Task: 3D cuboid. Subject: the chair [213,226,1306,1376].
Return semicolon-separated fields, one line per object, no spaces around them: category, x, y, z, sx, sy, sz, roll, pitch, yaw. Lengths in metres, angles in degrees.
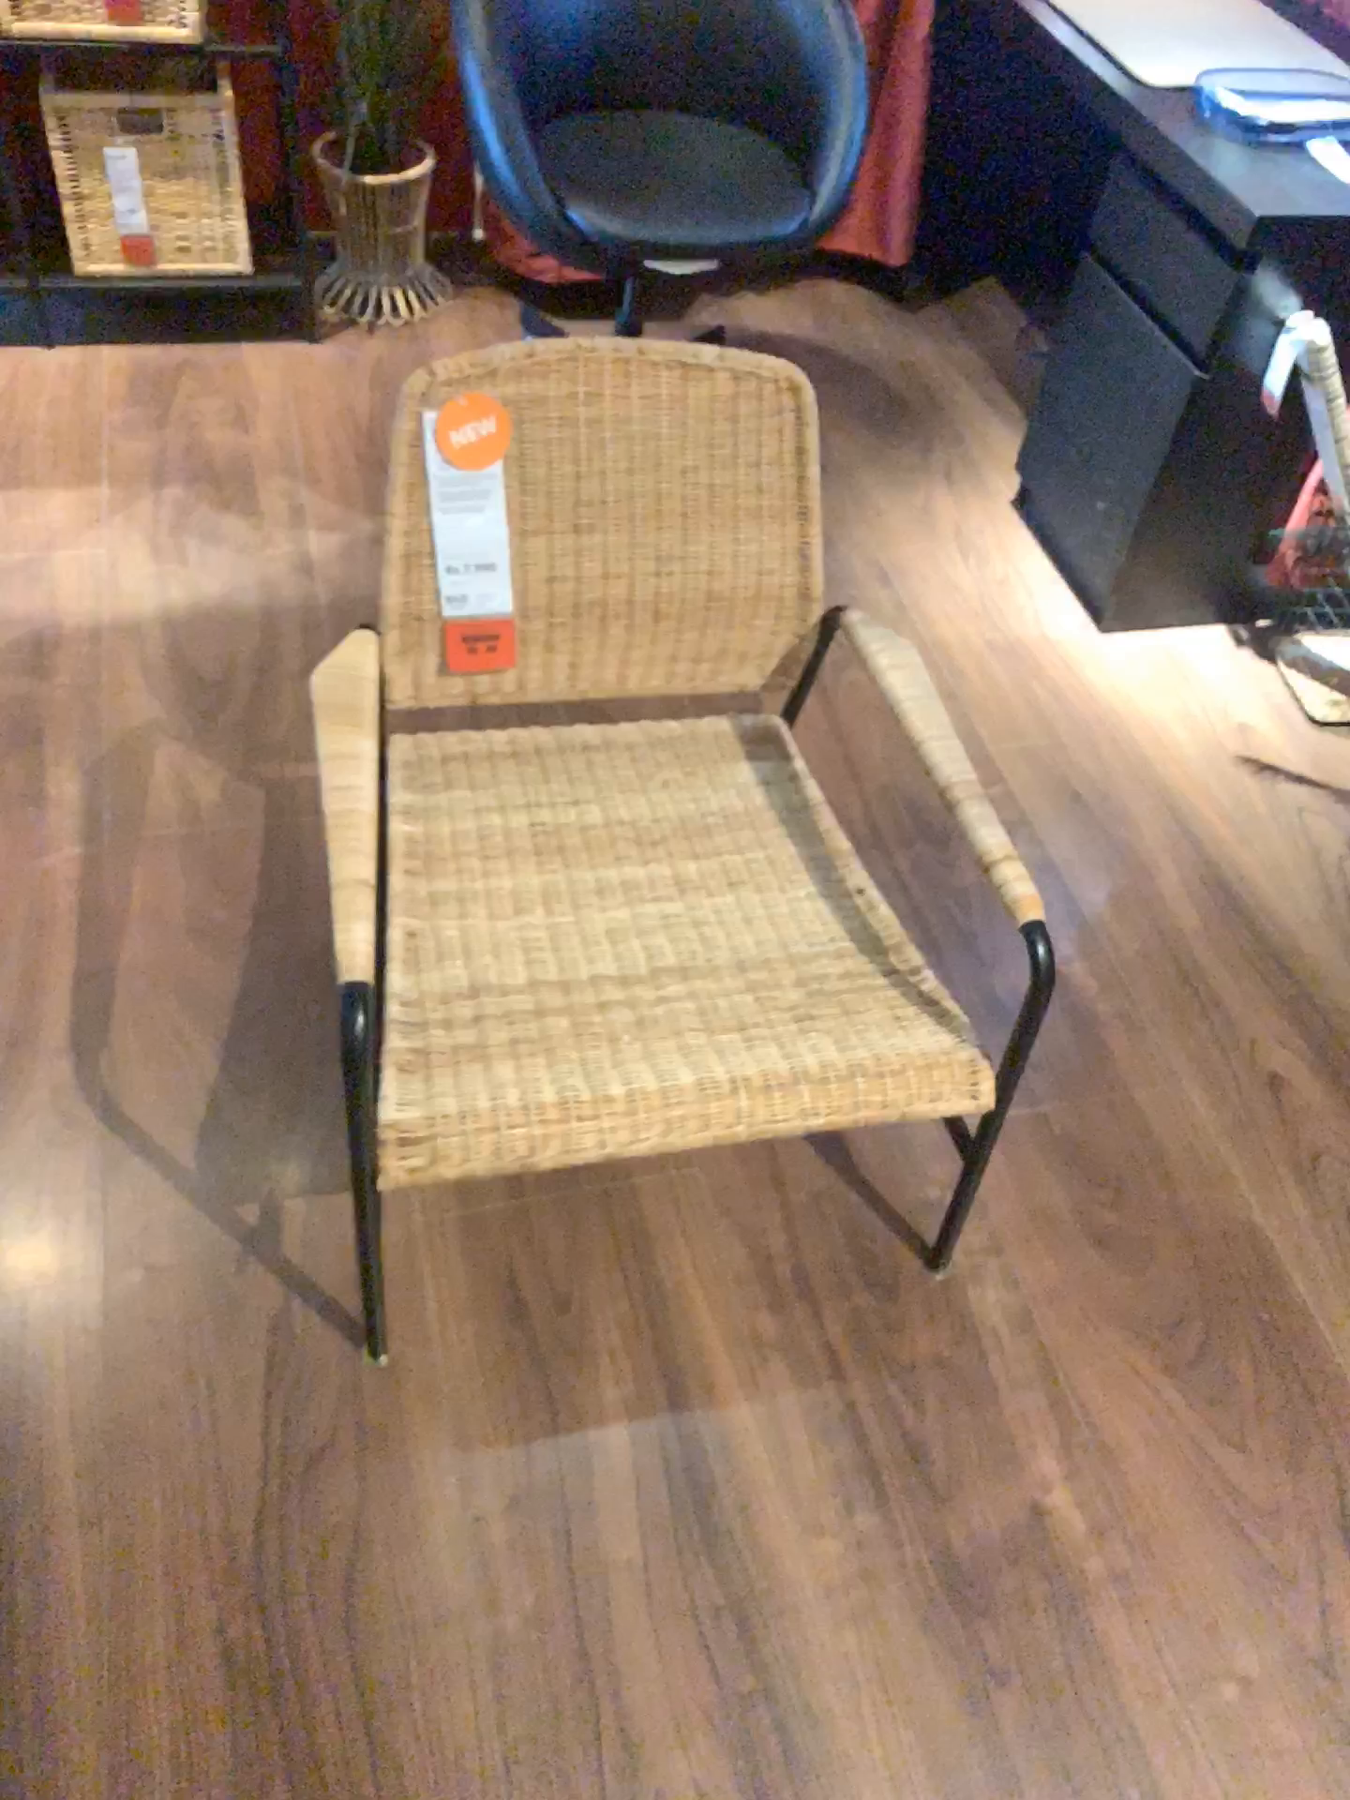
chair;-0.041;-0.112;1.399;0.710;0.757;0.793;-5;50;-13
